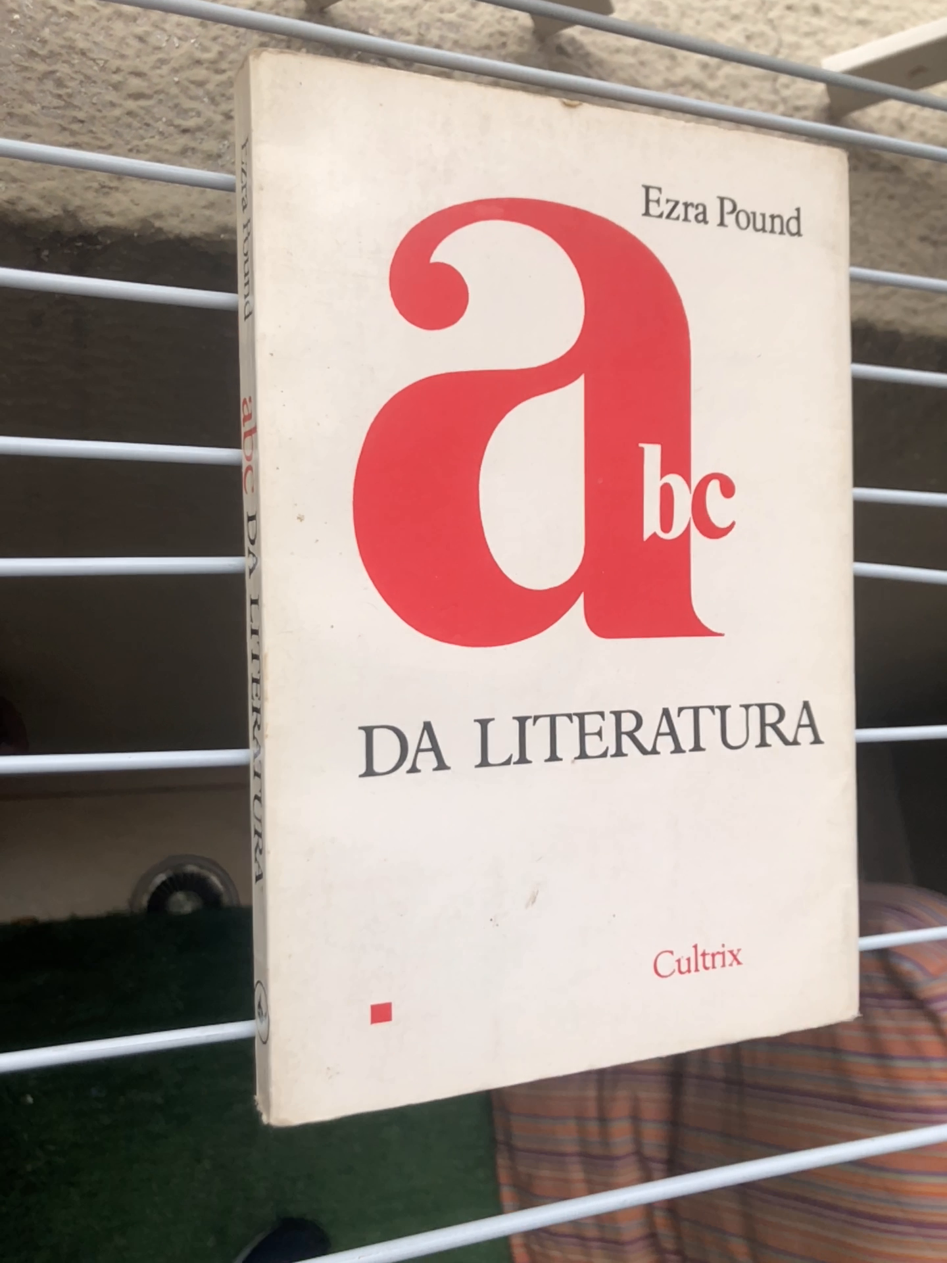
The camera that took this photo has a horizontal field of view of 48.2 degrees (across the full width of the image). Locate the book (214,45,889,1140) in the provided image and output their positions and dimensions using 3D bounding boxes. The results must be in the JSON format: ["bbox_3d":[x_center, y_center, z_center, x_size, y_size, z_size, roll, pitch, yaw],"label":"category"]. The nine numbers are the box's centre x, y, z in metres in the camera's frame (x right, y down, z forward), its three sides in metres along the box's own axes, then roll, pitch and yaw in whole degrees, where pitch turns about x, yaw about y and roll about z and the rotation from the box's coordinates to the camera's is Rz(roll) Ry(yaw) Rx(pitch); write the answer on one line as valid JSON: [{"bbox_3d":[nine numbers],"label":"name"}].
[{"bbox_3d":[0.022,-0.007,0.214,0.140,0.017,0.187,-2,92,-21],"label":"book"}]
